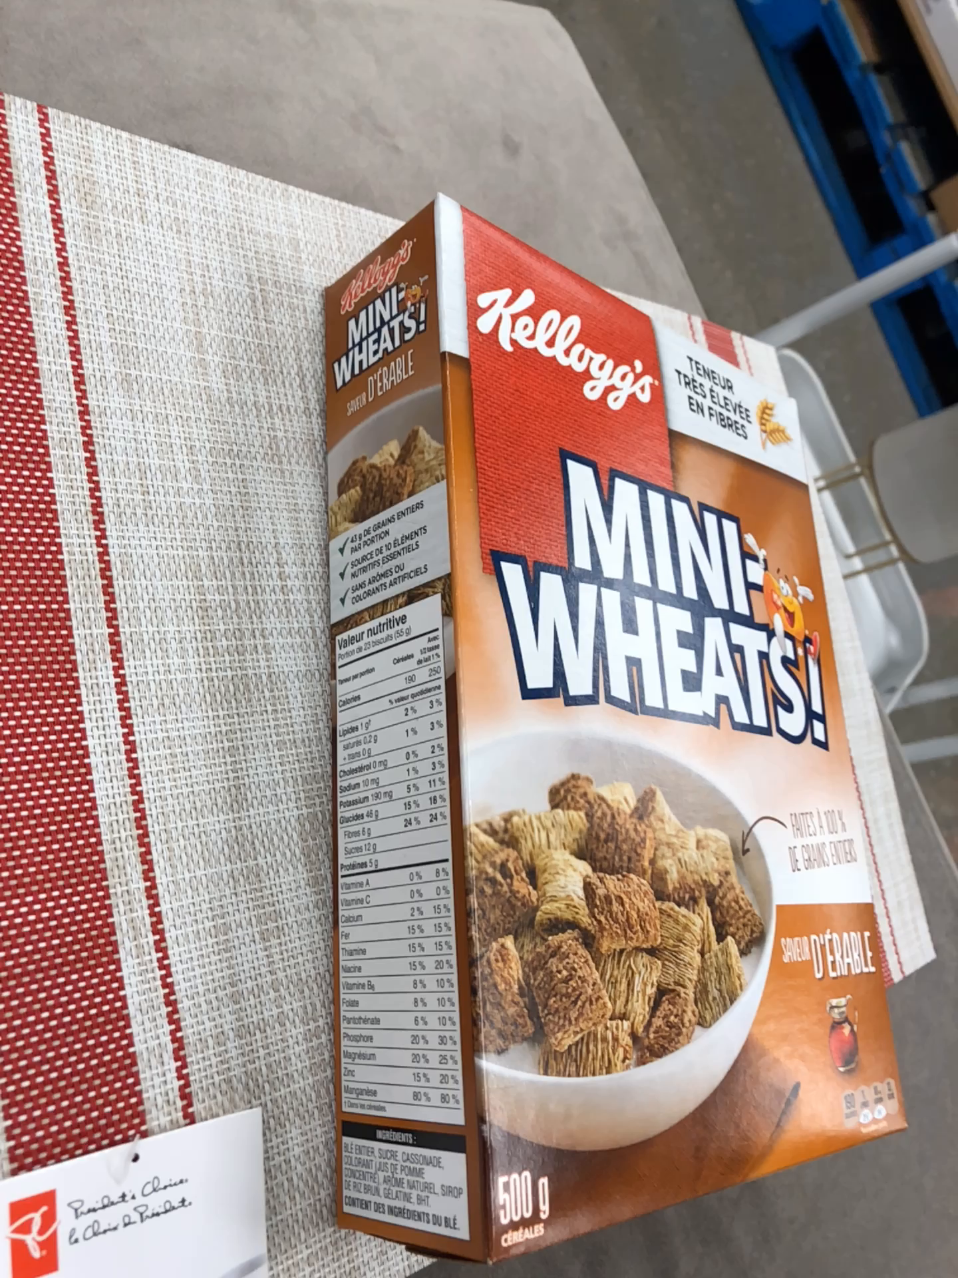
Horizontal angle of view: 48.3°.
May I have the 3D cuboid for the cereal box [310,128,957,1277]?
[{"bbox_3d":[0.052,0.022,0.335,0.211,0.060,0.280,12,68,-42],"label":"cereal box"}]
